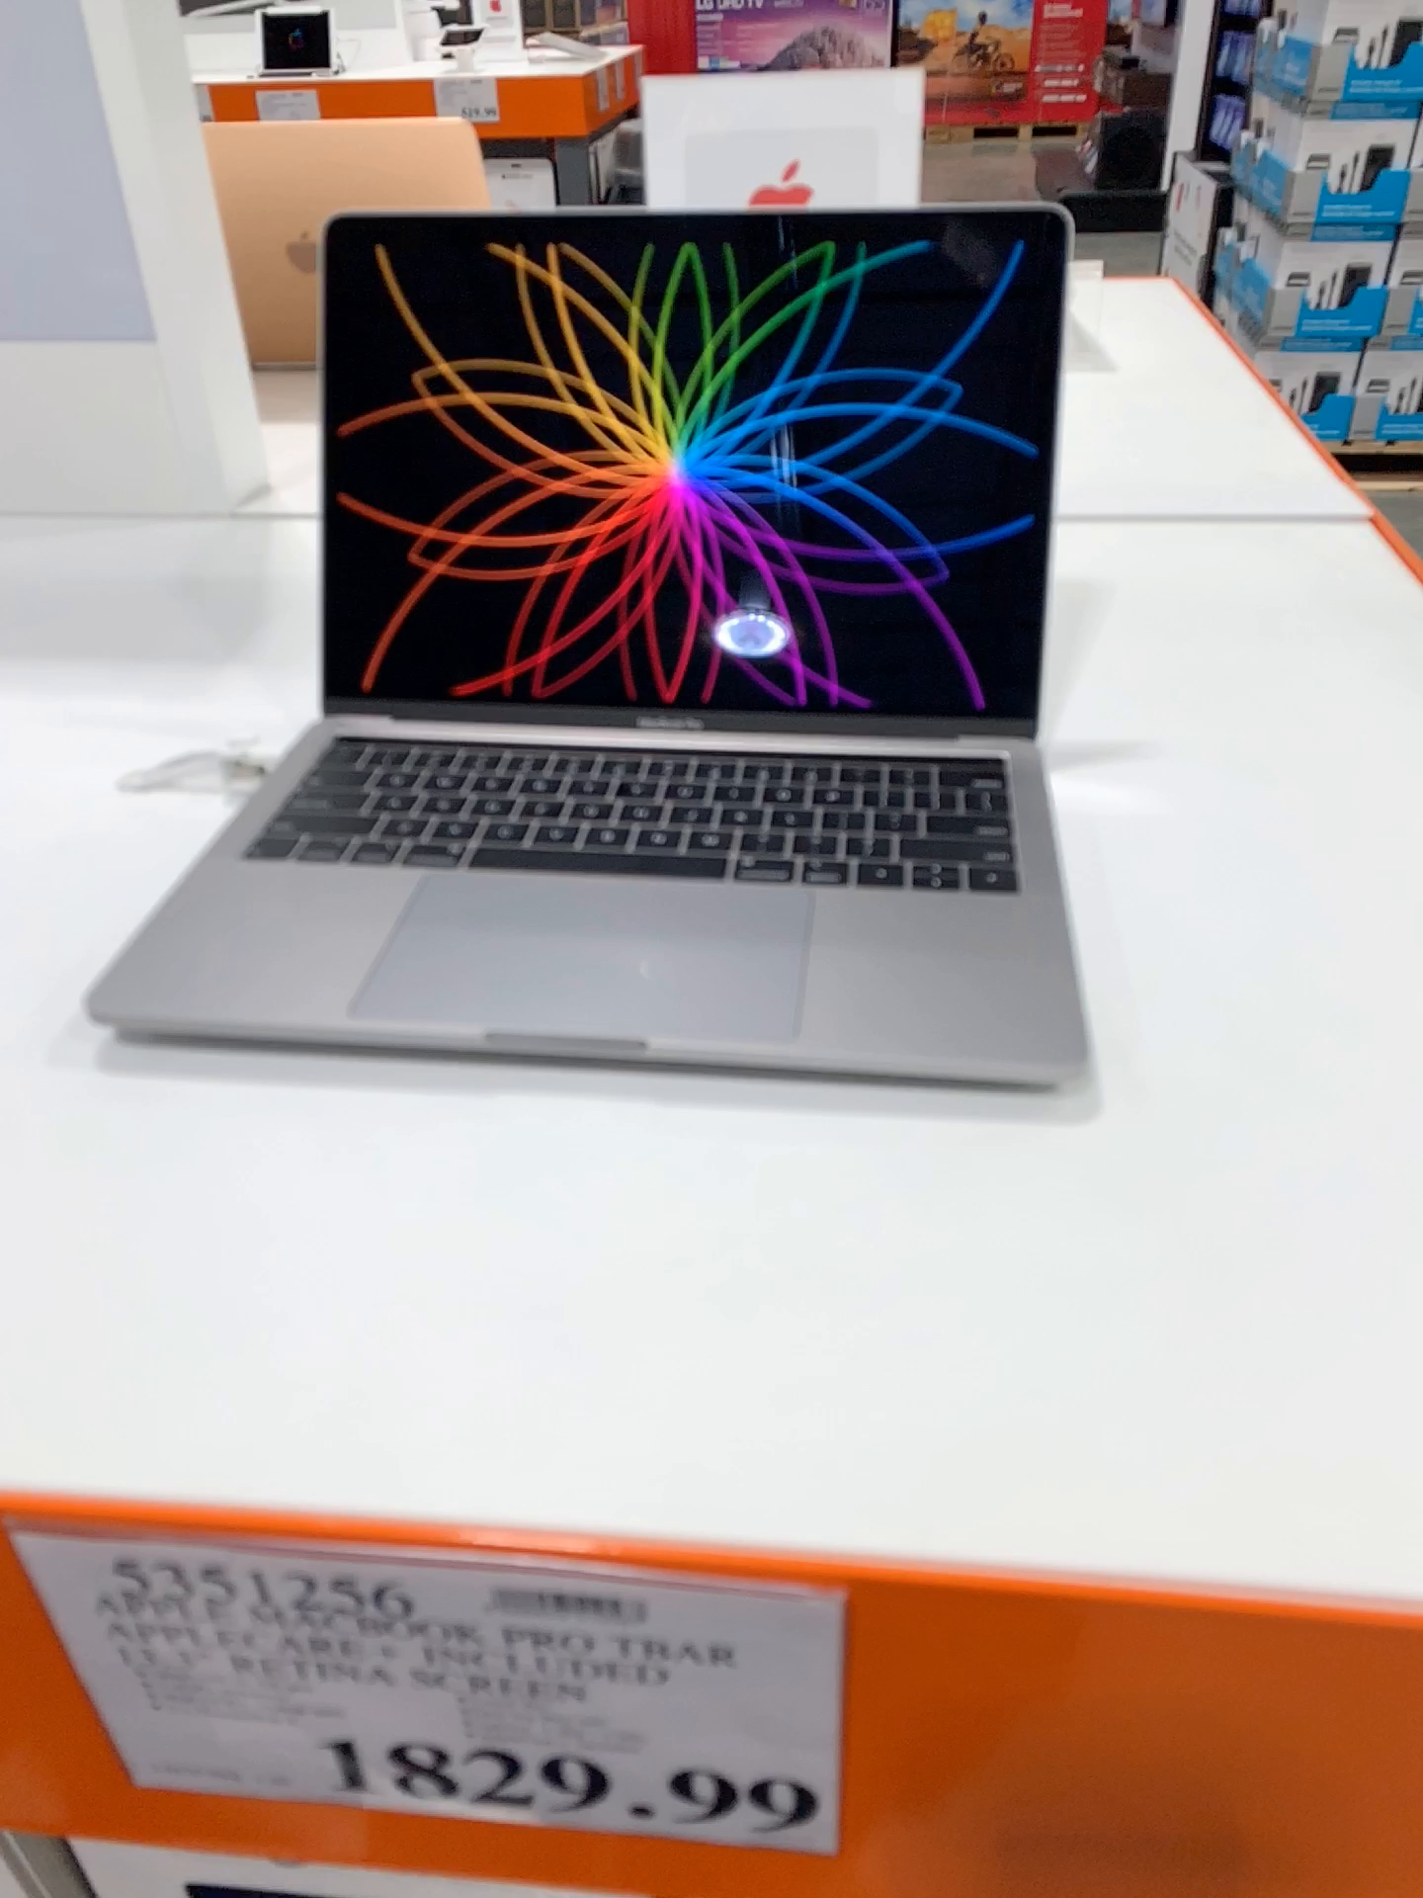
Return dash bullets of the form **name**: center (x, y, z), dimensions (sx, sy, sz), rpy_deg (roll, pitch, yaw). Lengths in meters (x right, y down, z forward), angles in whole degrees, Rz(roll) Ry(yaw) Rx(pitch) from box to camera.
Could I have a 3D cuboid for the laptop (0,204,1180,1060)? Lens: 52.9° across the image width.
- **laptop**: center (-0.025, -0.132, 0.481), dimensions (0.289, 0.164, 0.308), rpy_deg (3, 35, 7)
